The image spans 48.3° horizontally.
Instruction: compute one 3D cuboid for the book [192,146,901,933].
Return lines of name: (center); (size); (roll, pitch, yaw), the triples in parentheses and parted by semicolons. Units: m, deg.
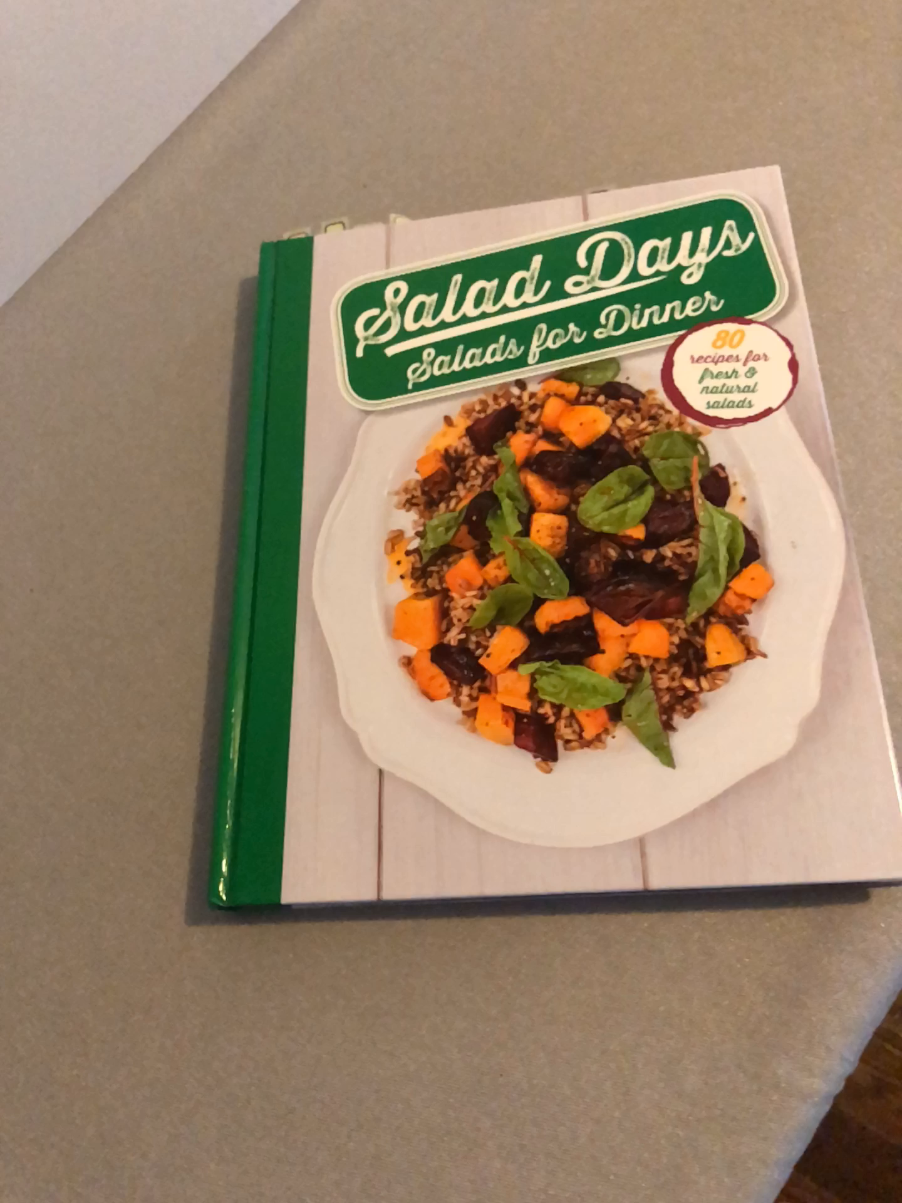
book: (0.027, -0.033, 0.350); (0.213, 0.020, 0.275); (-5, 66, 9)
